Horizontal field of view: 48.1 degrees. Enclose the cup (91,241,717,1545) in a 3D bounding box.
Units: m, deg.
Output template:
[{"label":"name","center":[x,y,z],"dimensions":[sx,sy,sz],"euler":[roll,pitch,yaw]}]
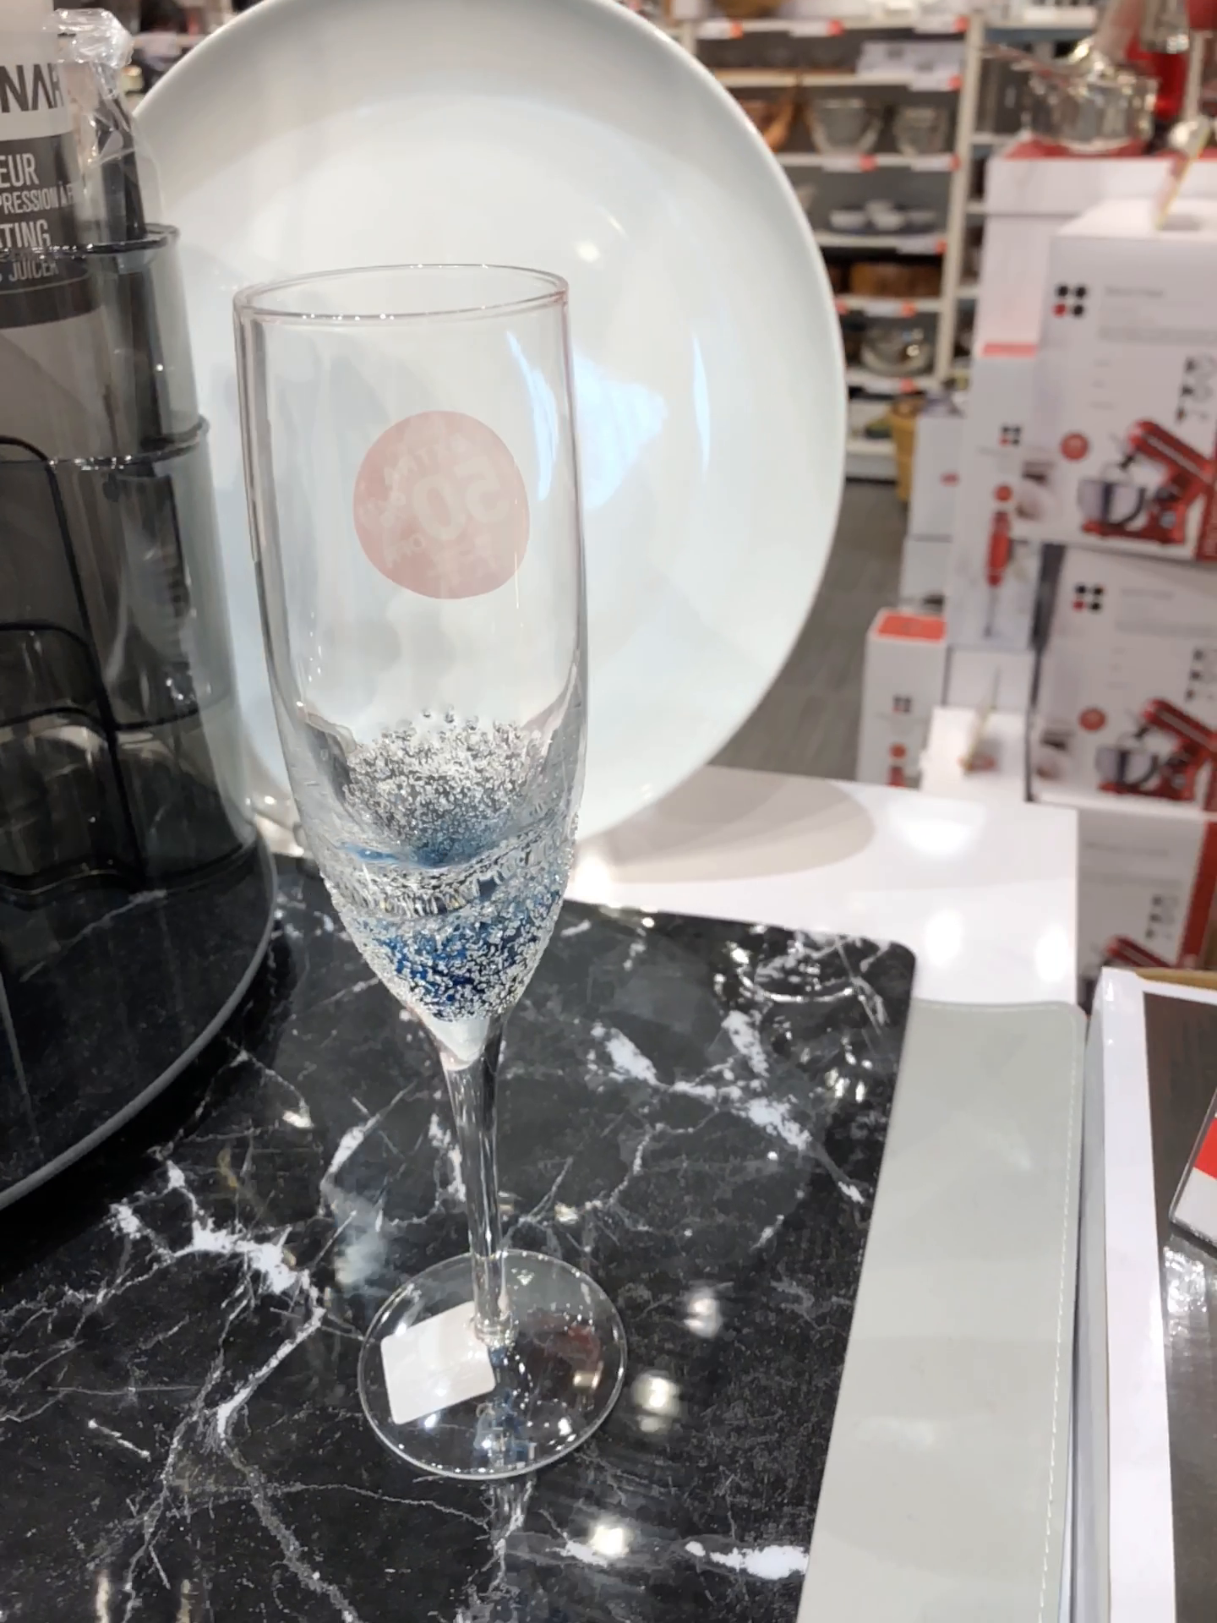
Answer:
[{"label":"cup","center":[-0.028,0.025,0.275],"dimensions":[0.070,0.249,0.070],"euler":[-1,28,0]}]
